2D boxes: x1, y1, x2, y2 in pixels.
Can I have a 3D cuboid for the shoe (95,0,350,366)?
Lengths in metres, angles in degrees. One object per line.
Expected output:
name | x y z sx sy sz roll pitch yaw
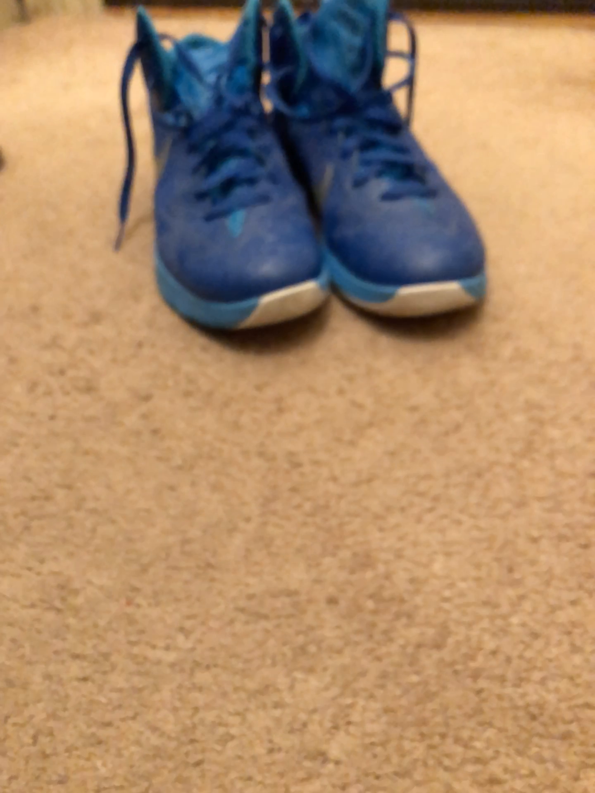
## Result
shoe | -0.061 -0.170 0.465 0.120 0.134 0.280 -11 43 -8

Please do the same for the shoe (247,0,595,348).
shoe | 0.060 -0.182 0.467 0.122 0.134 0.281 -12 43 -9
